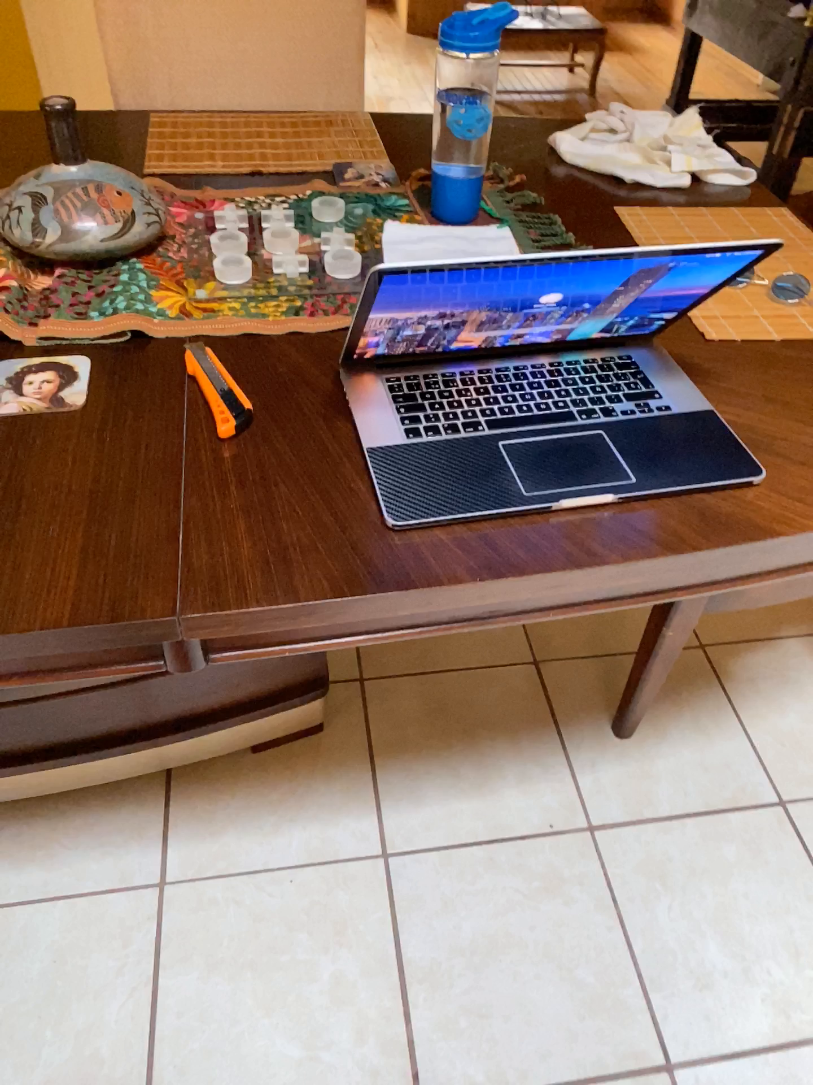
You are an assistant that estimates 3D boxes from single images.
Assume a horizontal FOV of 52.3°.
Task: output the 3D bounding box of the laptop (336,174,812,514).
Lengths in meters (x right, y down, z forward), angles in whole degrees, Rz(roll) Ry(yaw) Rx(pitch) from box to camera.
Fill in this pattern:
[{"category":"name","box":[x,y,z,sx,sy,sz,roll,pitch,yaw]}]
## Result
[{"category":"laptop","box":[0.131,-0.192,0.753,0.354,0.181,0.236,-7,44,-12]}]
